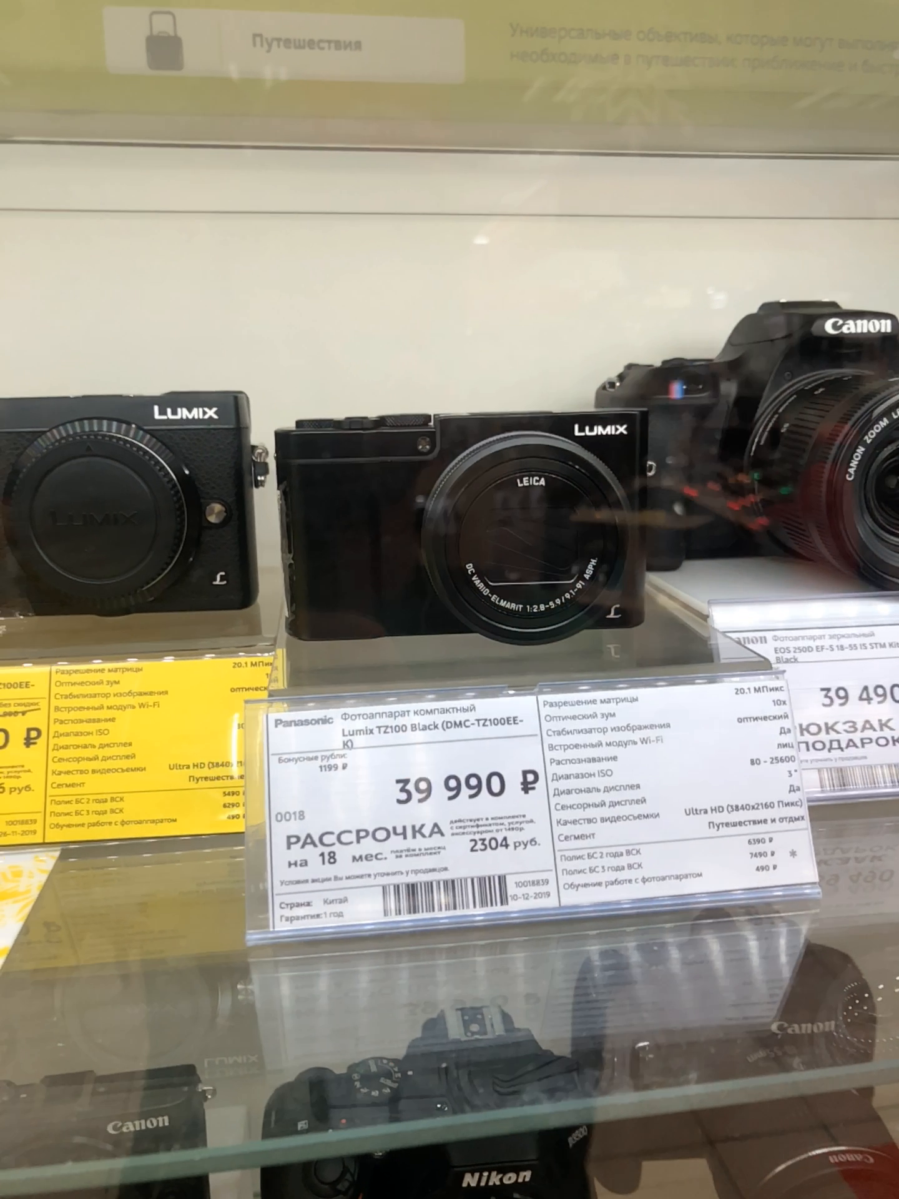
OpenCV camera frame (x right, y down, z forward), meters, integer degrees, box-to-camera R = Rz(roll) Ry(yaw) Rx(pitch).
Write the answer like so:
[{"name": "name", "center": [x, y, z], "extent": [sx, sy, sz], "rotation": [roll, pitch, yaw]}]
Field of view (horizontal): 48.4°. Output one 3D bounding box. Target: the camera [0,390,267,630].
[{"name": "camera", "center": [-0.118, -0.032, 0.325], "extent": [0.108, 0.068, 0.055], "rotation": [-2, 12, -6]}]

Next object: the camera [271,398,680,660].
[{"name": "camera", "center": [0.007, -0.023, 0.294], "extent": [0.111, 0.068, 0.038], "rotation": [-2, 12, -6]}]

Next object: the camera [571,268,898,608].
[{"name": "camera", "center": [0.144, -0.069, 0.384], "extent": [0.157, 0.099, 0.164], "rotation": [-2, 14, -6]}]
